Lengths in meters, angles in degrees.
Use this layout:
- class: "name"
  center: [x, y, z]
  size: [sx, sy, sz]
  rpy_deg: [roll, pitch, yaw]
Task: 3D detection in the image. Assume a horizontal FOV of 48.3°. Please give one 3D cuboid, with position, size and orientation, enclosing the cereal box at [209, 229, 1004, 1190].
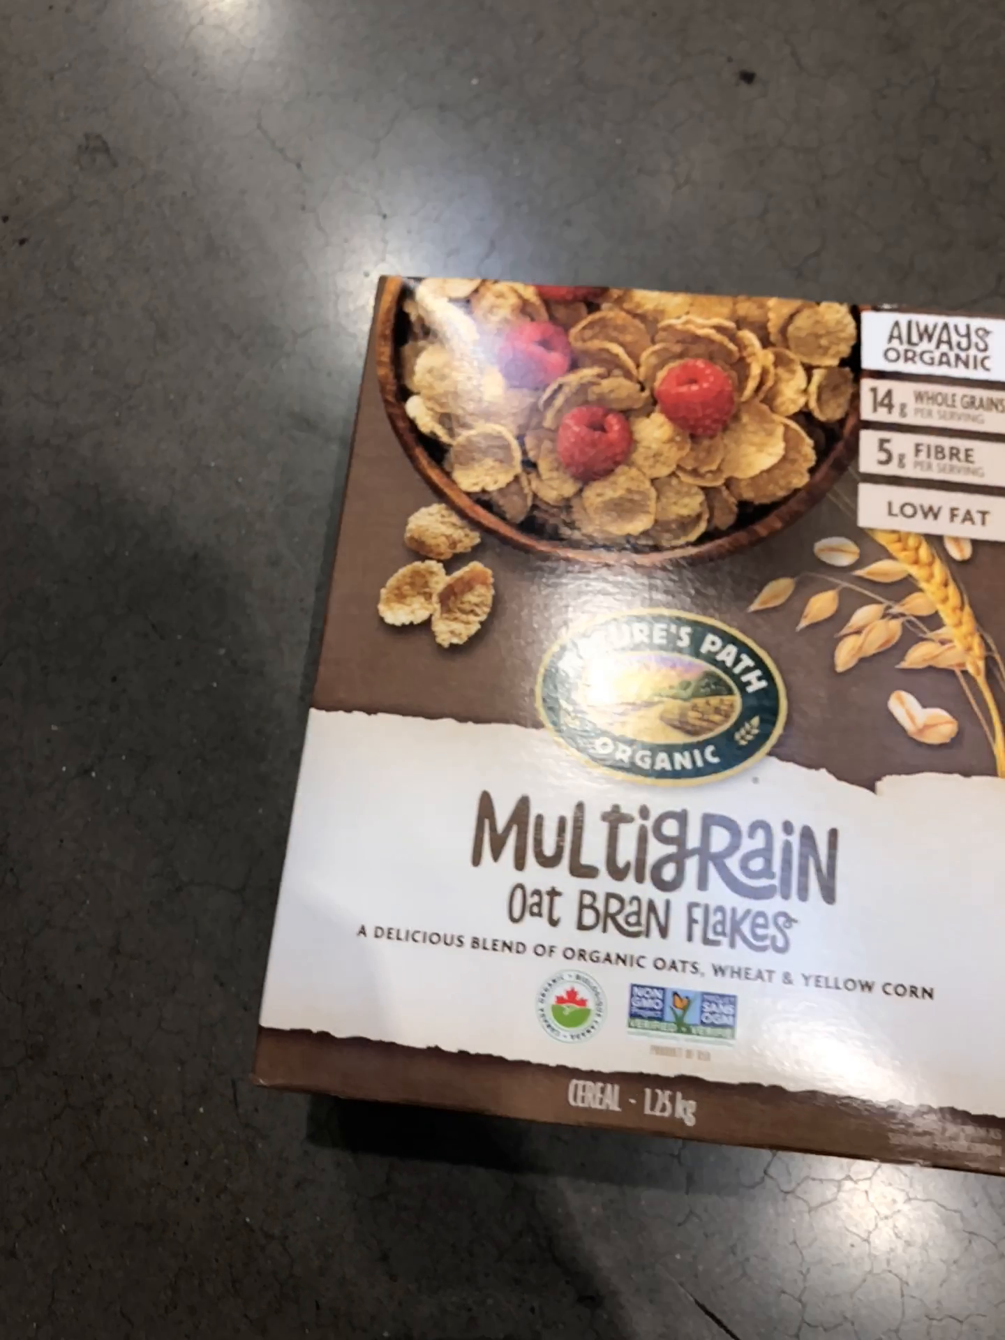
- class: "cereal box"
  center: [0.050, 0.006, 0.429]
  size: [0.240, 0.110, 0.310]
  rpy_deg: [6, 74, 5]
